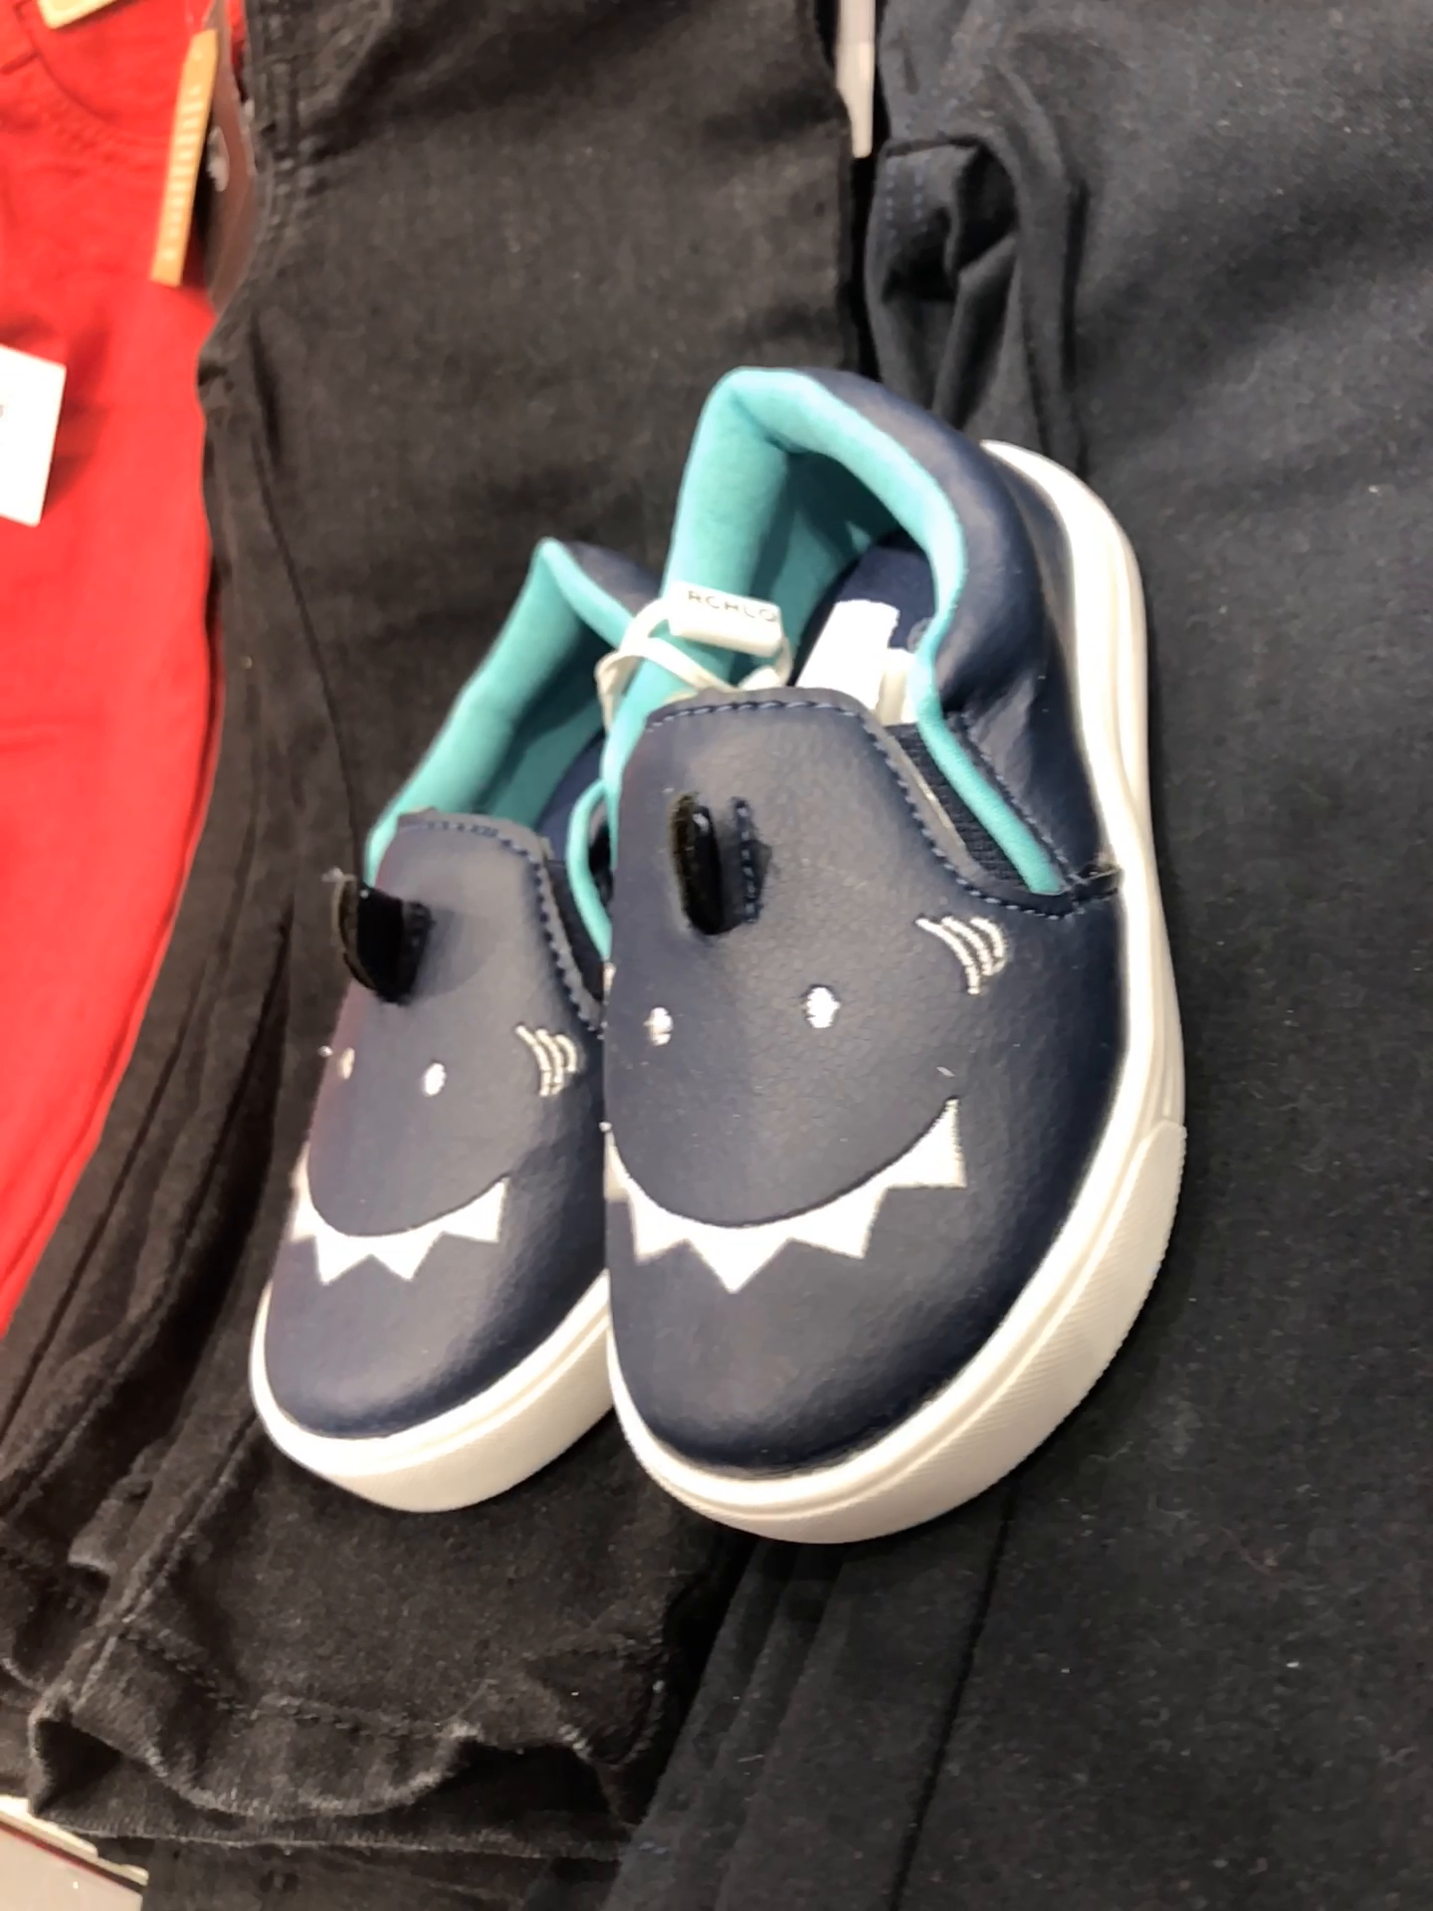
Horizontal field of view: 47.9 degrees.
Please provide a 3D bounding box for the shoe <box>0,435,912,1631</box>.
[{"bbox_3d":[-0.037,0.004,0.234,0.080,0.050,0.150,2,61,35],"label":"shoe"}]

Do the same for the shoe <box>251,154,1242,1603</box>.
[{"bbox_3d":[0.014,-0.012,0.190,0.080,0.050,0.150,-8,56,30],"label":"shoe"}]
